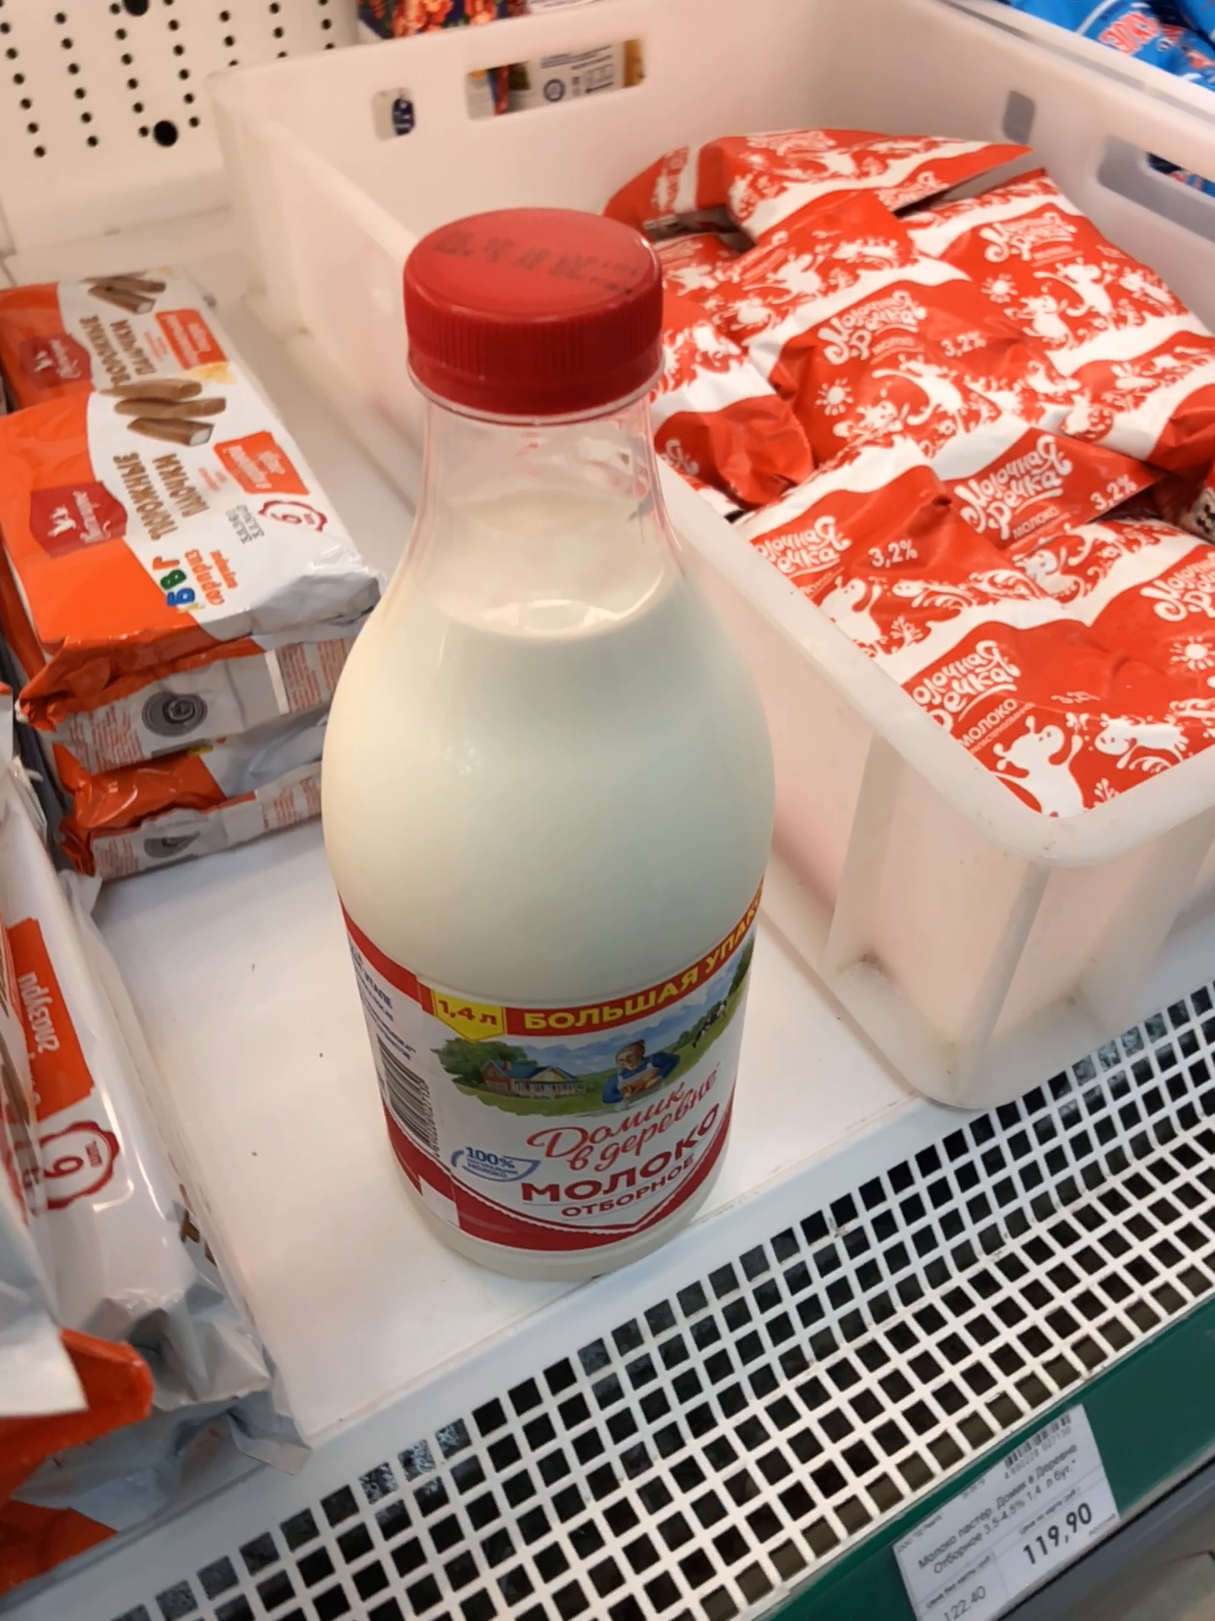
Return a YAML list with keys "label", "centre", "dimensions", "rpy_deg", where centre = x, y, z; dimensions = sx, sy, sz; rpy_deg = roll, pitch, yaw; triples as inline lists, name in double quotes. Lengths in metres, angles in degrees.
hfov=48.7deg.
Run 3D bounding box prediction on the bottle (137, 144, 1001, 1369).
- label: "bottle"
  centre: [-0.010, 0.008, 0.299]
  dimensions: [0.100, 0.249, 0.100]
  rpy_deg: [0, 47, 0]
